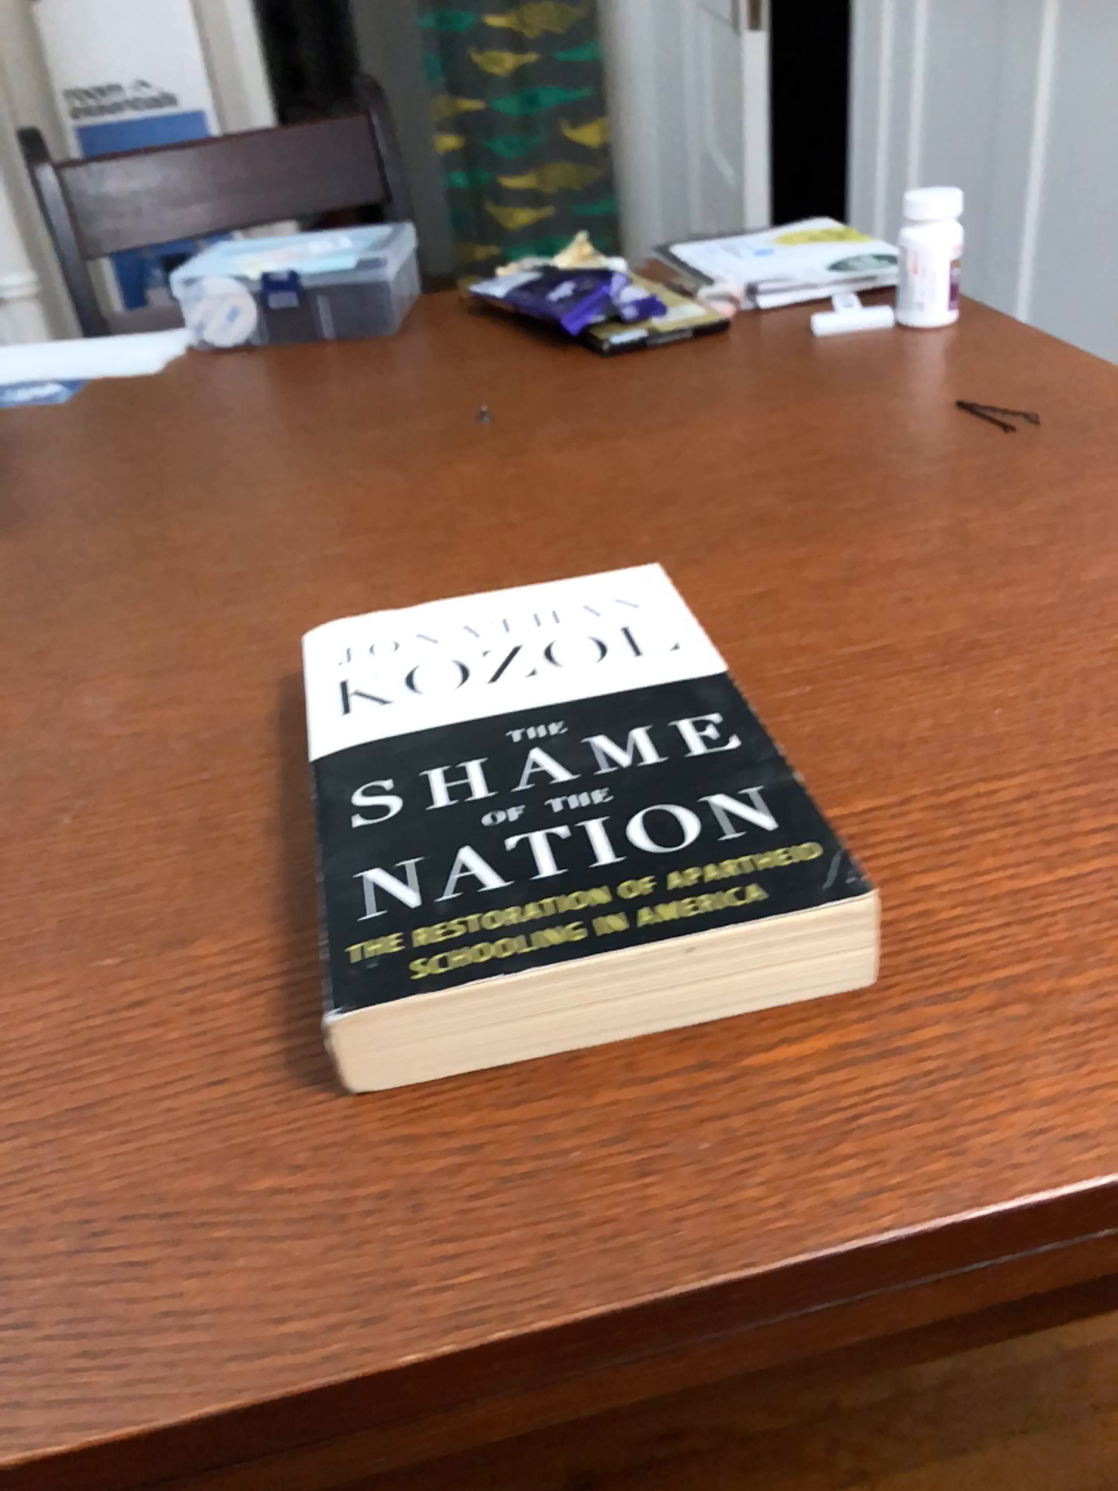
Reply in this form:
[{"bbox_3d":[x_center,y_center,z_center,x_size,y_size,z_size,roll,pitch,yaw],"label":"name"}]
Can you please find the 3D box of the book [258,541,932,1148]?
[{"bbox_3d":[-0.009,0.008,0.391,0.160,0.030,0.231,-11,33,-6],"label":"book"}]
